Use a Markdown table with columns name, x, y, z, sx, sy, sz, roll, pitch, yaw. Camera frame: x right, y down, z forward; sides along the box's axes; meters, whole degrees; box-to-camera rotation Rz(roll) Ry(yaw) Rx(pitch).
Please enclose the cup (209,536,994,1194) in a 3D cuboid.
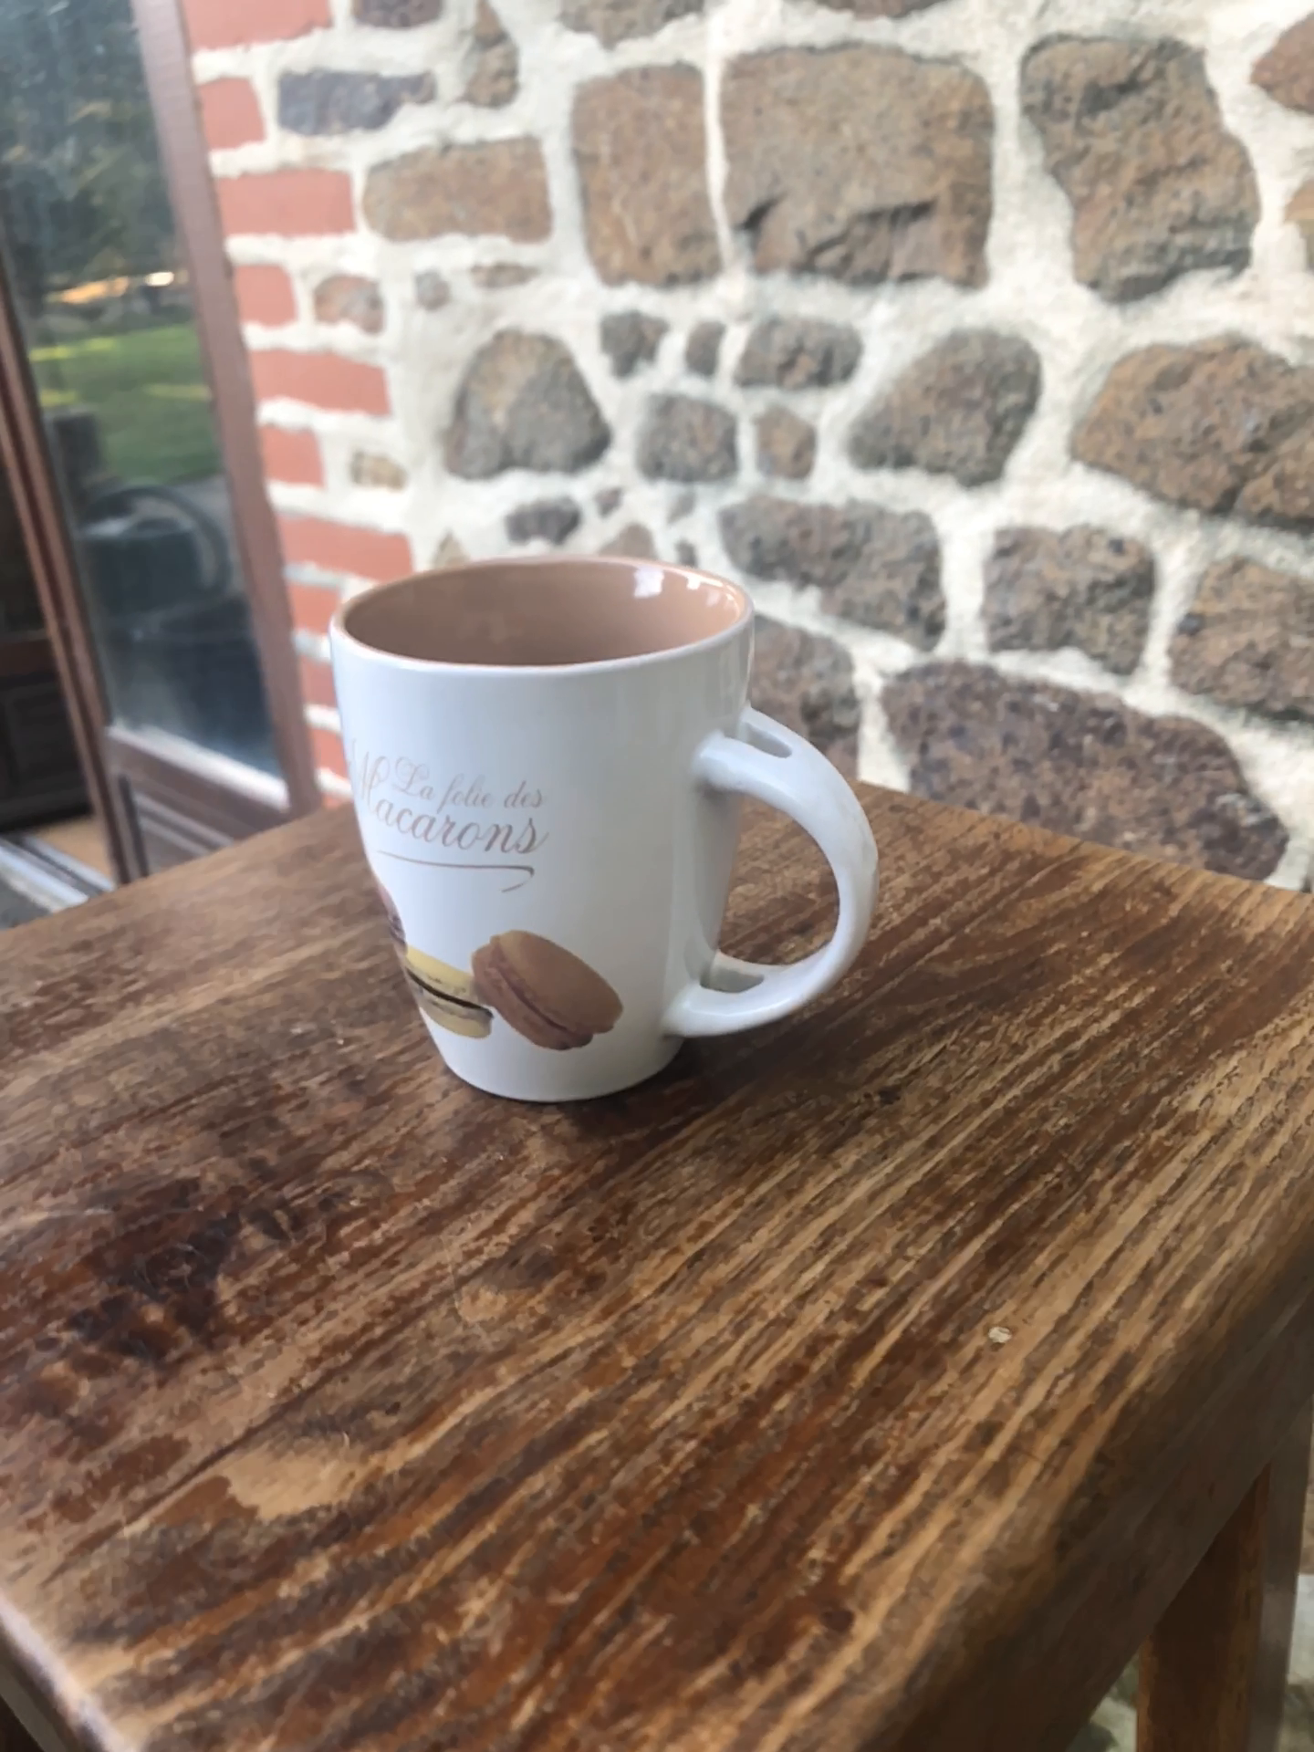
| name | x | y | z | sx | sy | sz | roll | pitch | yaw |
| --- | --- | --- | --- | --- | --- | --- | --- | --- | --- |
| cup | -0.005 | -0.013 | 0.302 | 0.123 | 0.090 | 0.094 | 9 | 28 | 26 |
